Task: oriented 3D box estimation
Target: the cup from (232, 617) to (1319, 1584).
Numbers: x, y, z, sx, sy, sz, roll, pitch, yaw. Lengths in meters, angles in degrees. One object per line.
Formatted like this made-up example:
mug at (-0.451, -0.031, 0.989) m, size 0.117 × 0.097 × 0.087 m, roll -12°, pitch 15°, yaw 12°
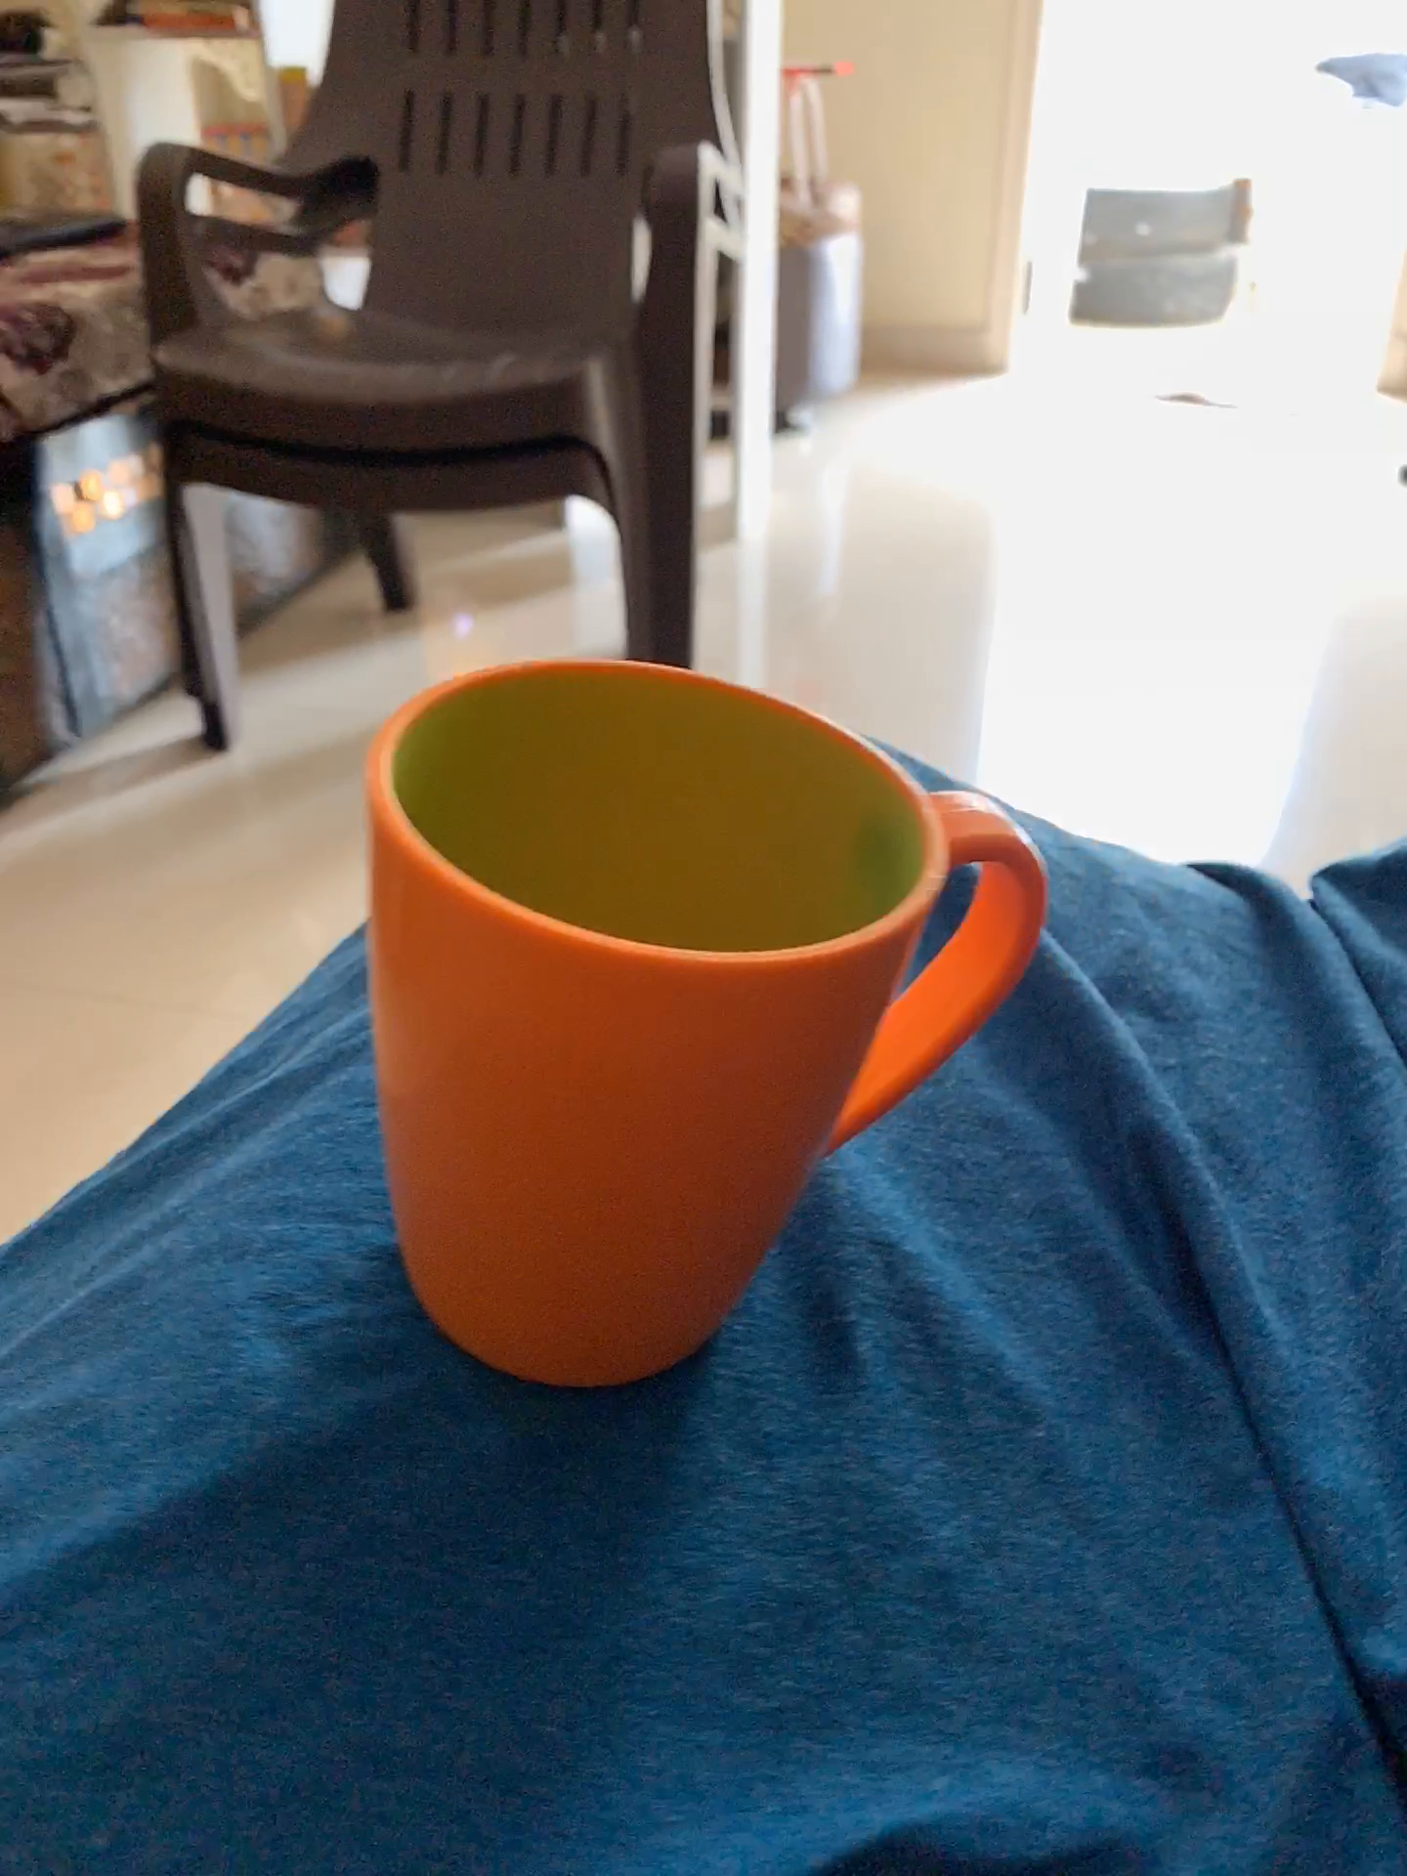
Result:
cup at (0.003, 0.014, 0.236) m, size 0.120 × 0.089 × 0.101 m, roll -9°, pitch 43°, yaw -33°
